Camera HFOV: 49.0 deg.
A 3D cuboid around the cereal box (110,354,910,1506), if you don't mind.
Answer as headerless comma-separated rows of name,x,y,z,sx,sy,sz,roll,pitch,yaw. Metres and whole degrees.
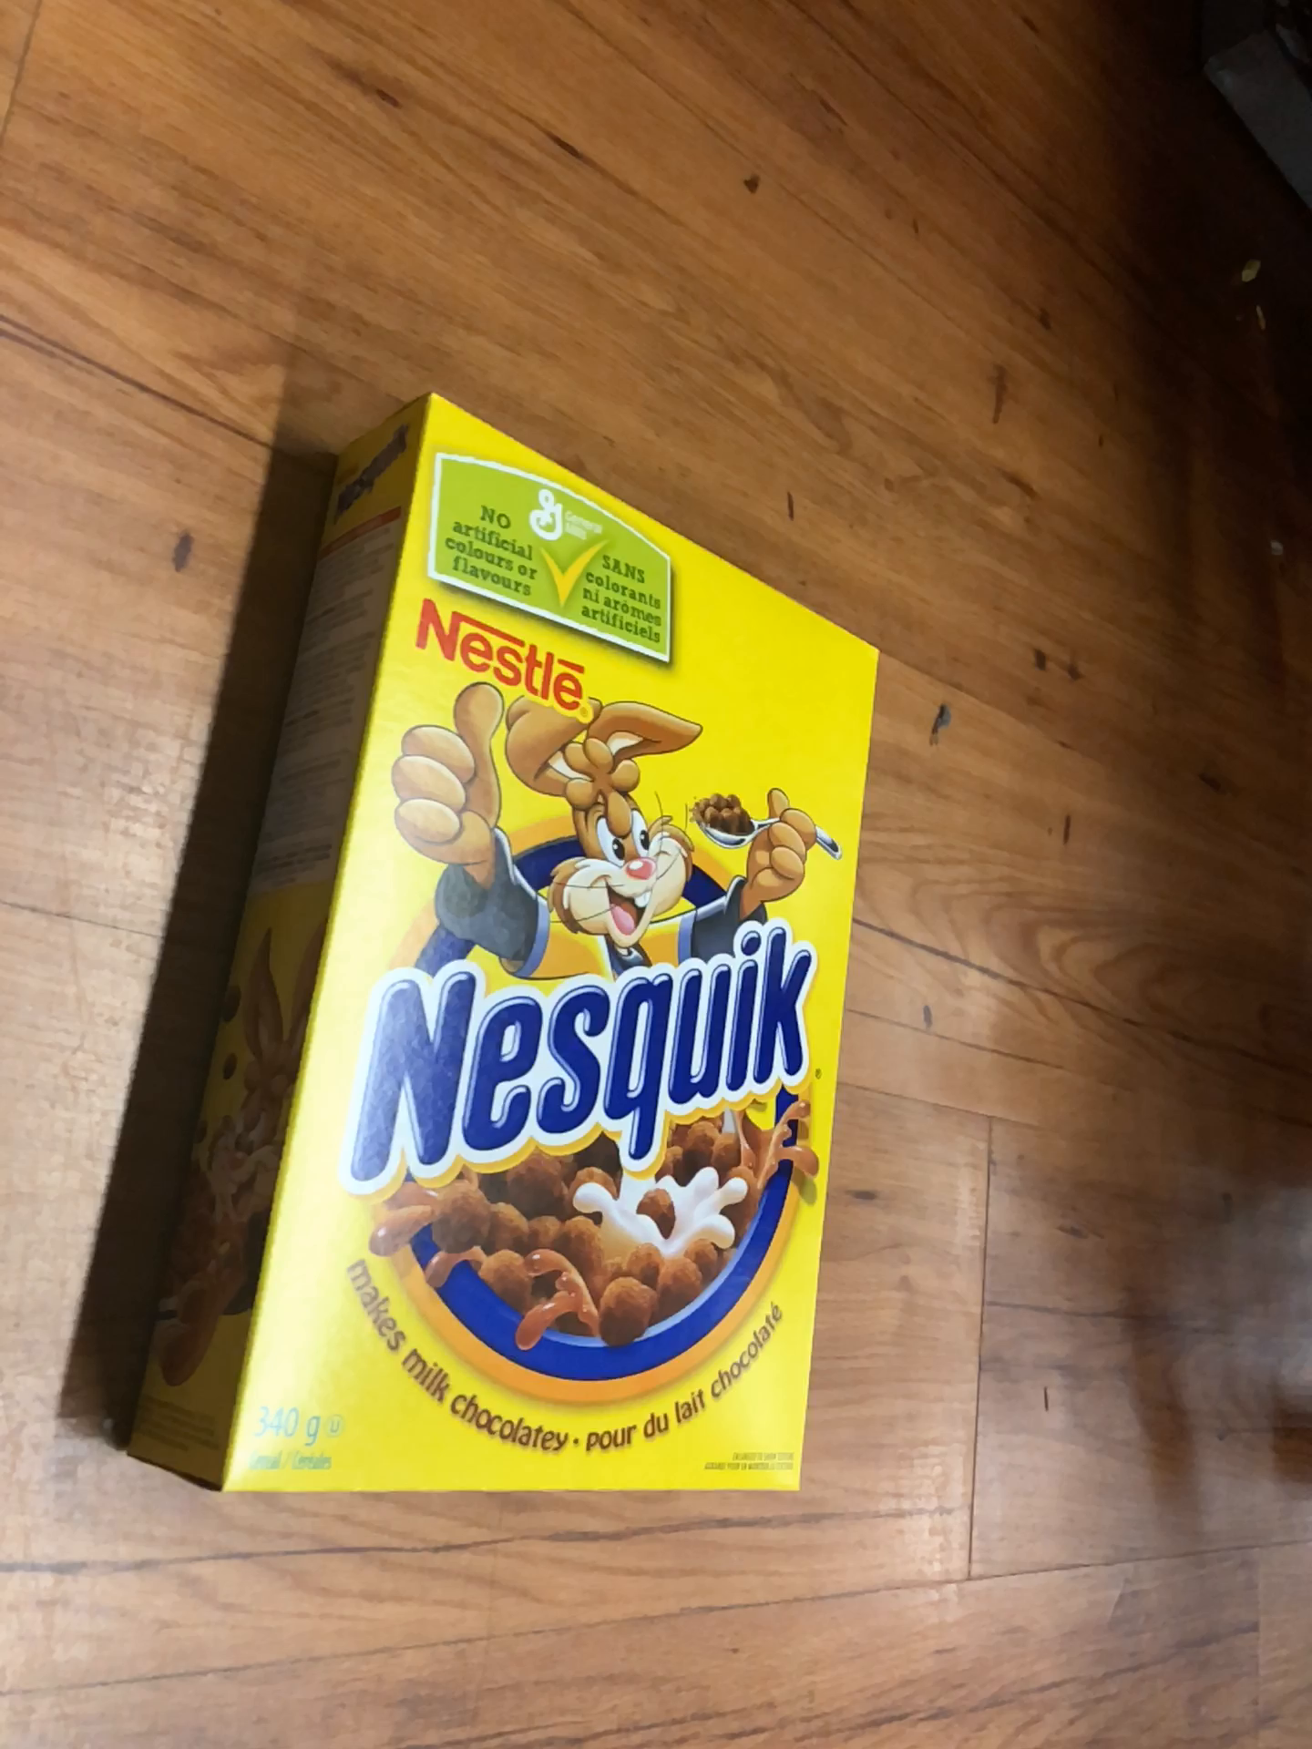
cereal box,-0.023,0.028,0.436,0.201,0.060,0.290,19,72,-38
